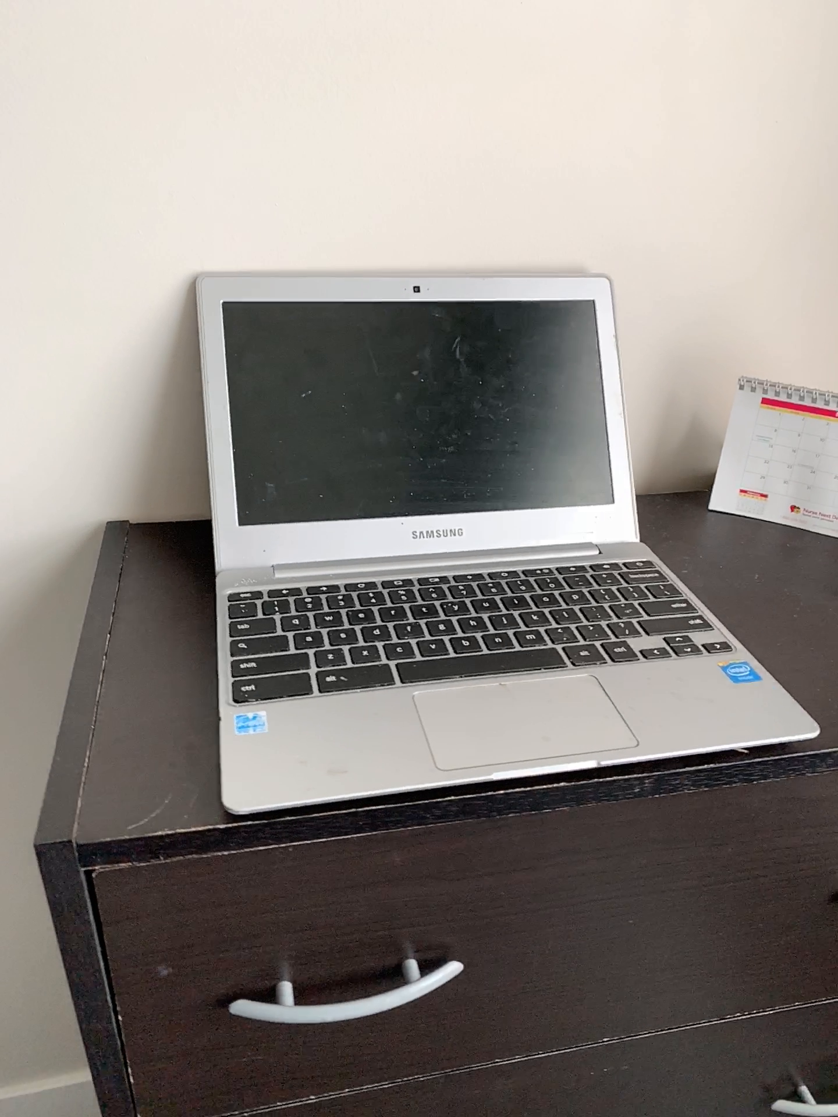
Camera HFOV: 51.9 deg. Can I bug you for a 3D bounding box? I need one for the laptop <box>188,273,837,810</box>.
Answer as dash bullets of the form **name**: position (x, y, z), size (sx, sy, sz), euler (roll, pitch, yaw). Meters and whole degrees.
- **laptop**: position (0.026, -0.051, 0.492), size (0.291, 0.153, 0.319), euler (-4, 30, -13)
